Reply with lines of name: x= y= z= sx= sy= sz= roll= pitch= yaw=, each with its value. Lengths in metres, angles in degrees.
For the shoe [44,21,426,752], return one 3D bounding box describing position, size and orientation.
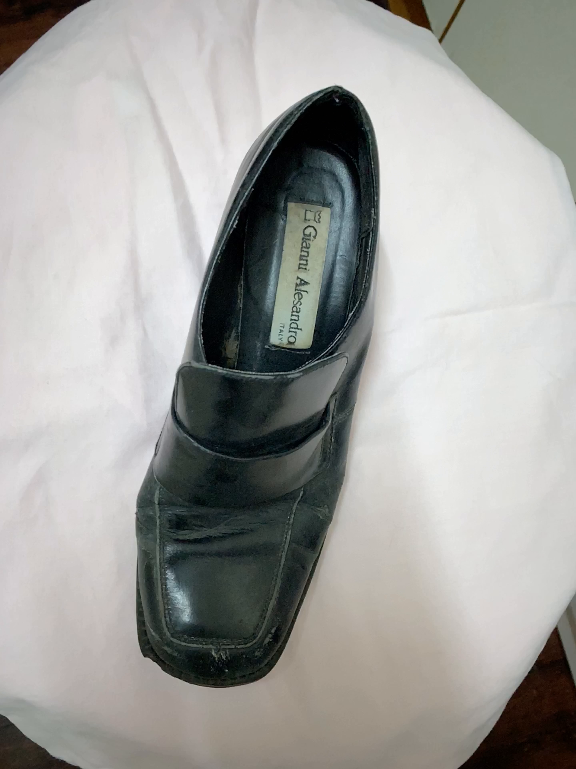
shoe: x=-0.017 y=-0.002 z=0.249 sx=0.090 sy=0.092 sz=0.240 roll=10 pitch=81 yaw=-6
